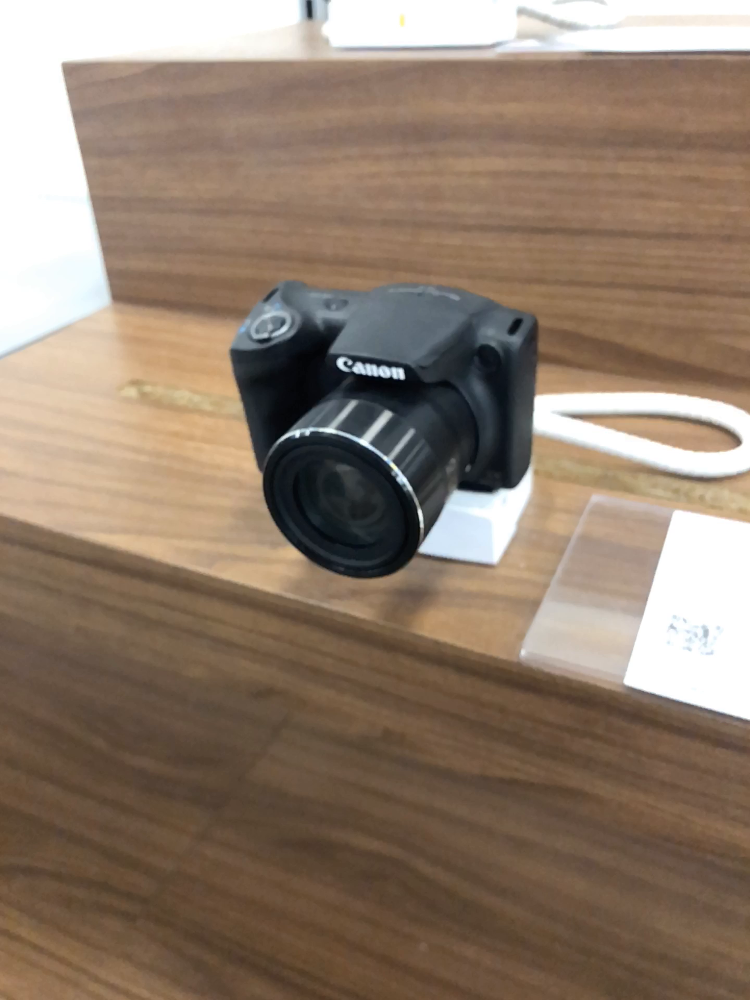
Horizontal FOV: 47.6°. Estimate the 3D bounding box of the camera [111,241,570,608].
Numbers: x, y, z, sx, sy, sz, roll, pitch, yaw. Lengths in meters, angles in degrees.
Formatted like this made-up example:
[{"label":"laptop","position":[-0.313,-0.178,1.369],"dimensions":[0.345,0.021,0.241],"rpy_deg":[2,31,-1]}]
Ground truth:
[{"label":"camera","position":[-0.004,-0.036,0.290],"dimensions":[0.110,0.070,0.110],"rpy_deg":[11,33,22]}]
